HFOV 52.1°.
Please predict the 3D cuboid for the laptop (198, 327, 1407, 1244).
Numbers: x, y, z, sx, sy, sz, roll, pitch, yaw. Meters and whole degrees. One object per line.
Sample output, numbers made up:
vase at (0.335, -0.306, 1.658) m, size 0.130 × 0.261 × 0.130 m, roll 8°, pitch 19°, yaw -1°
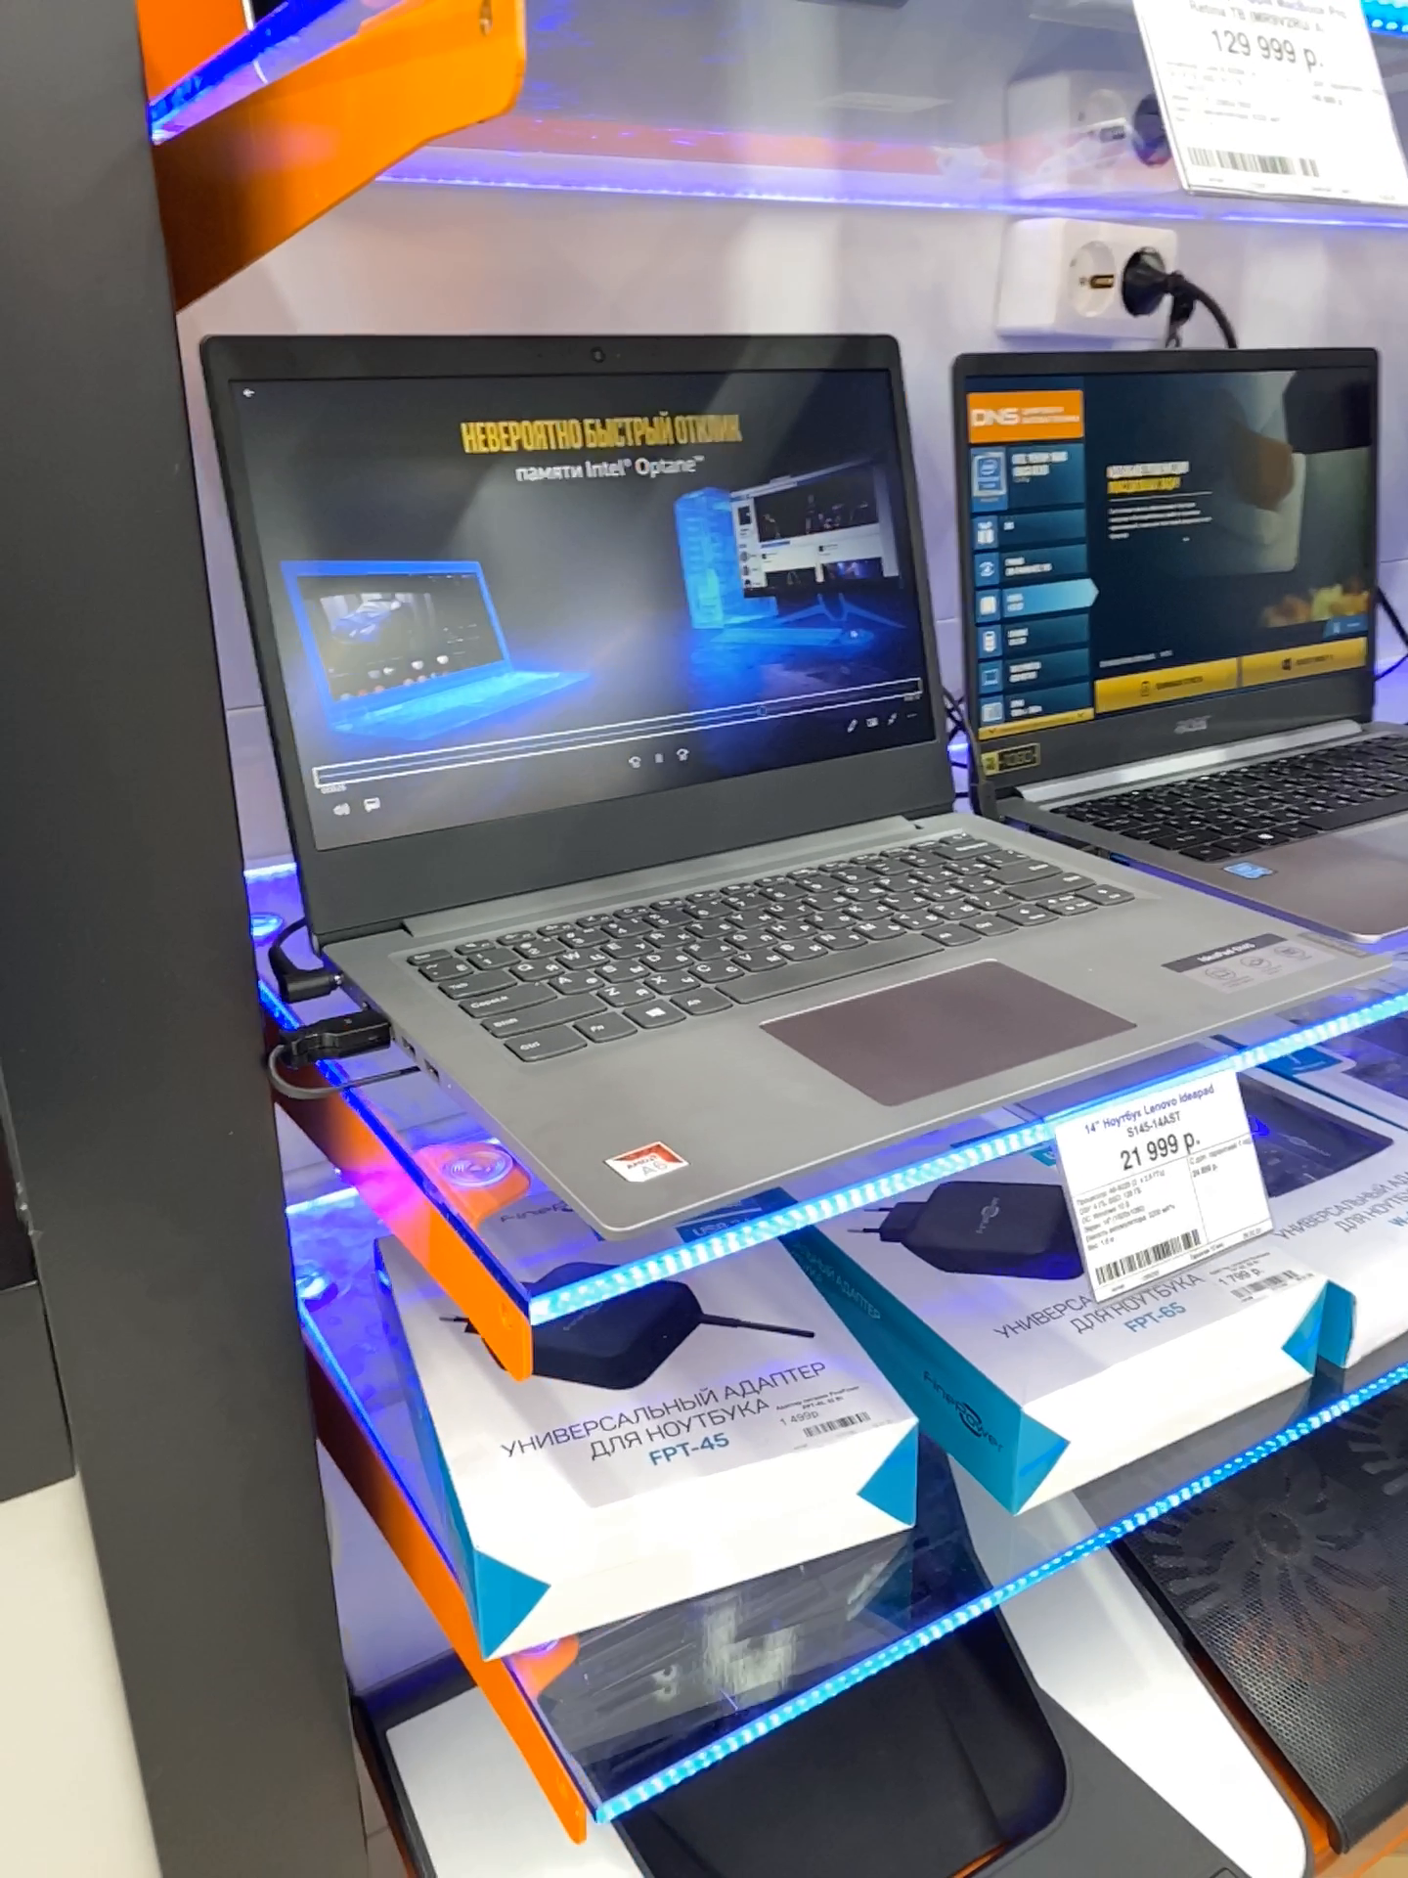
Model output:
laptop at (0.033, -0.103, 0.528) m, size 0.327 × 0.215 × 0.303 m, roll -13°, pitch 25°, yaw -29°
